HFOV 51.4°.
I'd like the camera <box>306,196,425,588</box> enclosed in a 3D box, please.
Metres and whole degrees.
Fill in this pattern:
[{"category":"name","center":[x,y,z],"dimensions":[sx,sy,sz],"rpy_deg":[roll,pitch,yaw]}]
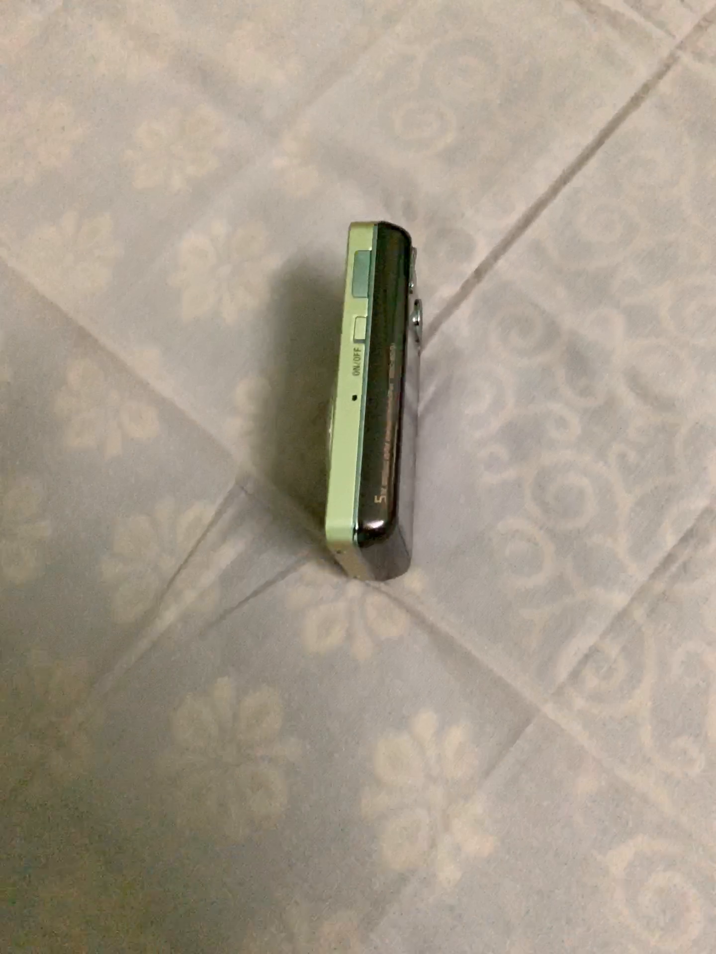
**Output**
[{"category":"camera","center":[0.005,-0.020,0.203],"dimensions":[0.021,0.060,0.088],"rpy_deg":[2,71,7]}]
